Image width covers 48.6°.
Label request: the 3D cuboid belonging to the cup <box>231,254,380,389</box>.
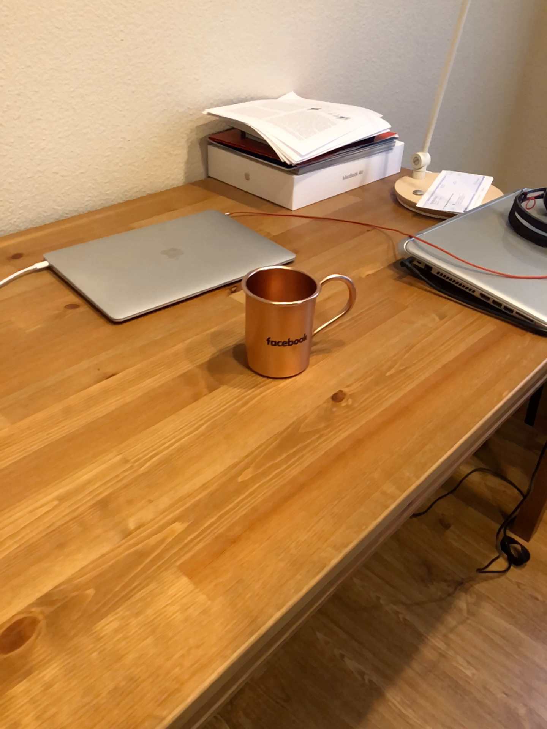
[{"bbox_3d":[0.028,-0.047,0.628,0.130,0.100,0.080,-7,37,-14],"label":"cup"}]
